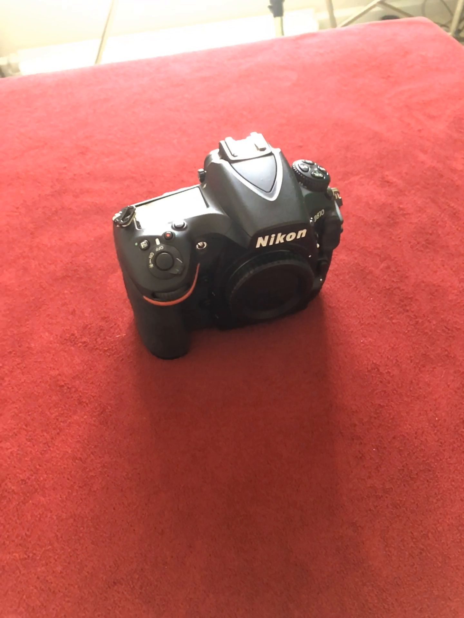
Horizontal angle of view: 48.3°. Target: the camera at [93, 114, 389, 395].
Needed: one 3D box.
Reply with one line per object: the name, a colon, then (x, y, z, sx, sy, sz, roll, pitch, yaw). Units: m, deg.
camera: (0.004, -0.032, 0.338, 0.145, 0.129, 0.083, -16, 52, -11)
